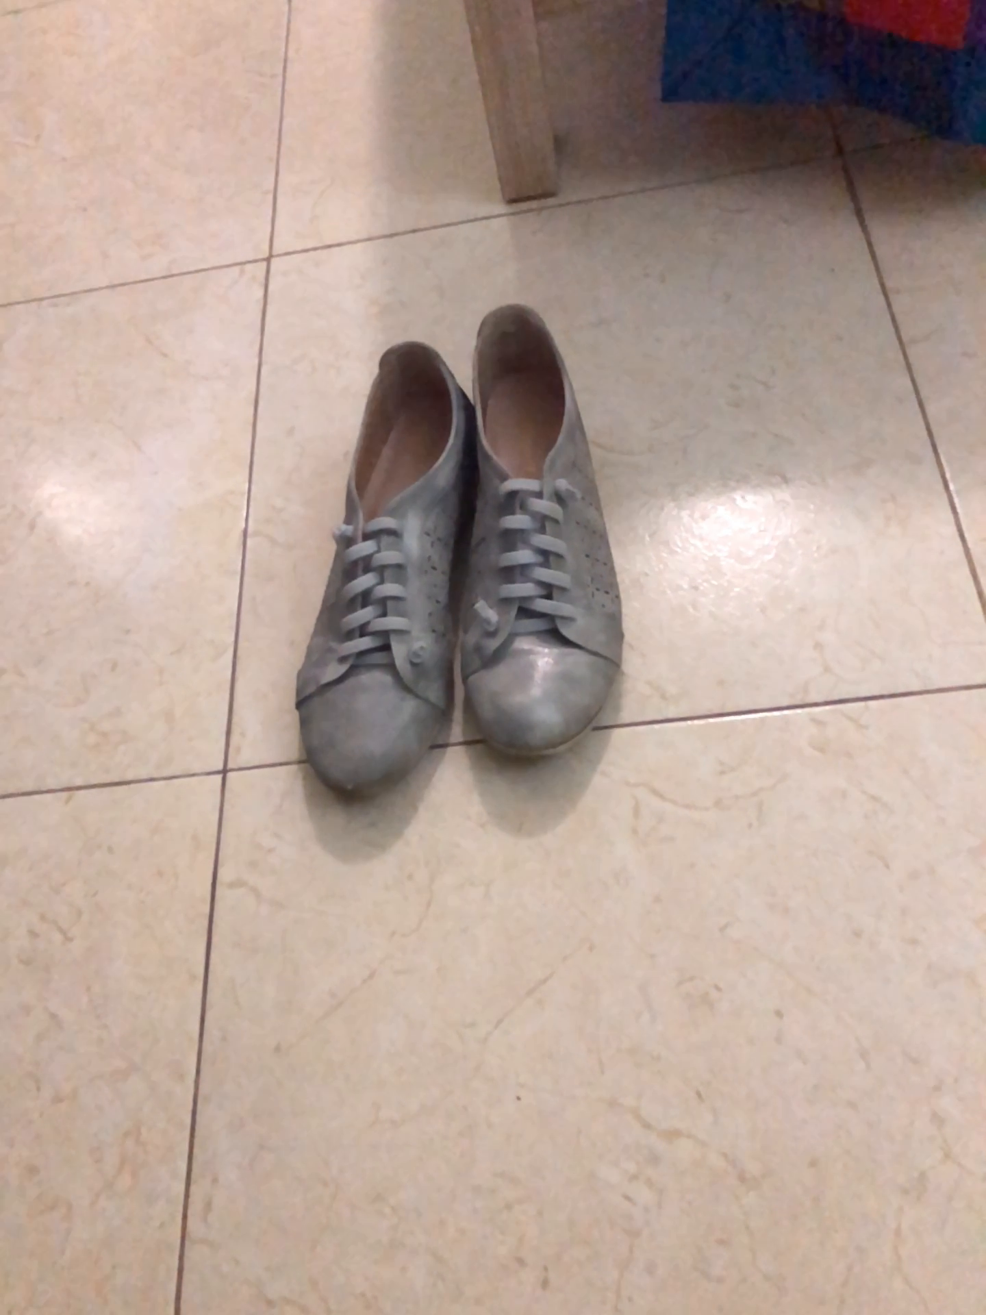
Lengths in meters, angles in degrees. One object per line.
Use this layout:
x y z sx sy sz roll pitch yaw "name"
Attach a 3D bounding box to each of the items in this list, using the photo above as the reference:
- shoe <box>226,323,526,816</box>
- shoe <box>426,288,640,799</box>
-0.059 -0.062 0.670 0.100 0.100 0.290 3 62 14 "shoe"
0.020 -0.074 0.654 0.100 0.100 0.290 -7 60 8 "shoe"
